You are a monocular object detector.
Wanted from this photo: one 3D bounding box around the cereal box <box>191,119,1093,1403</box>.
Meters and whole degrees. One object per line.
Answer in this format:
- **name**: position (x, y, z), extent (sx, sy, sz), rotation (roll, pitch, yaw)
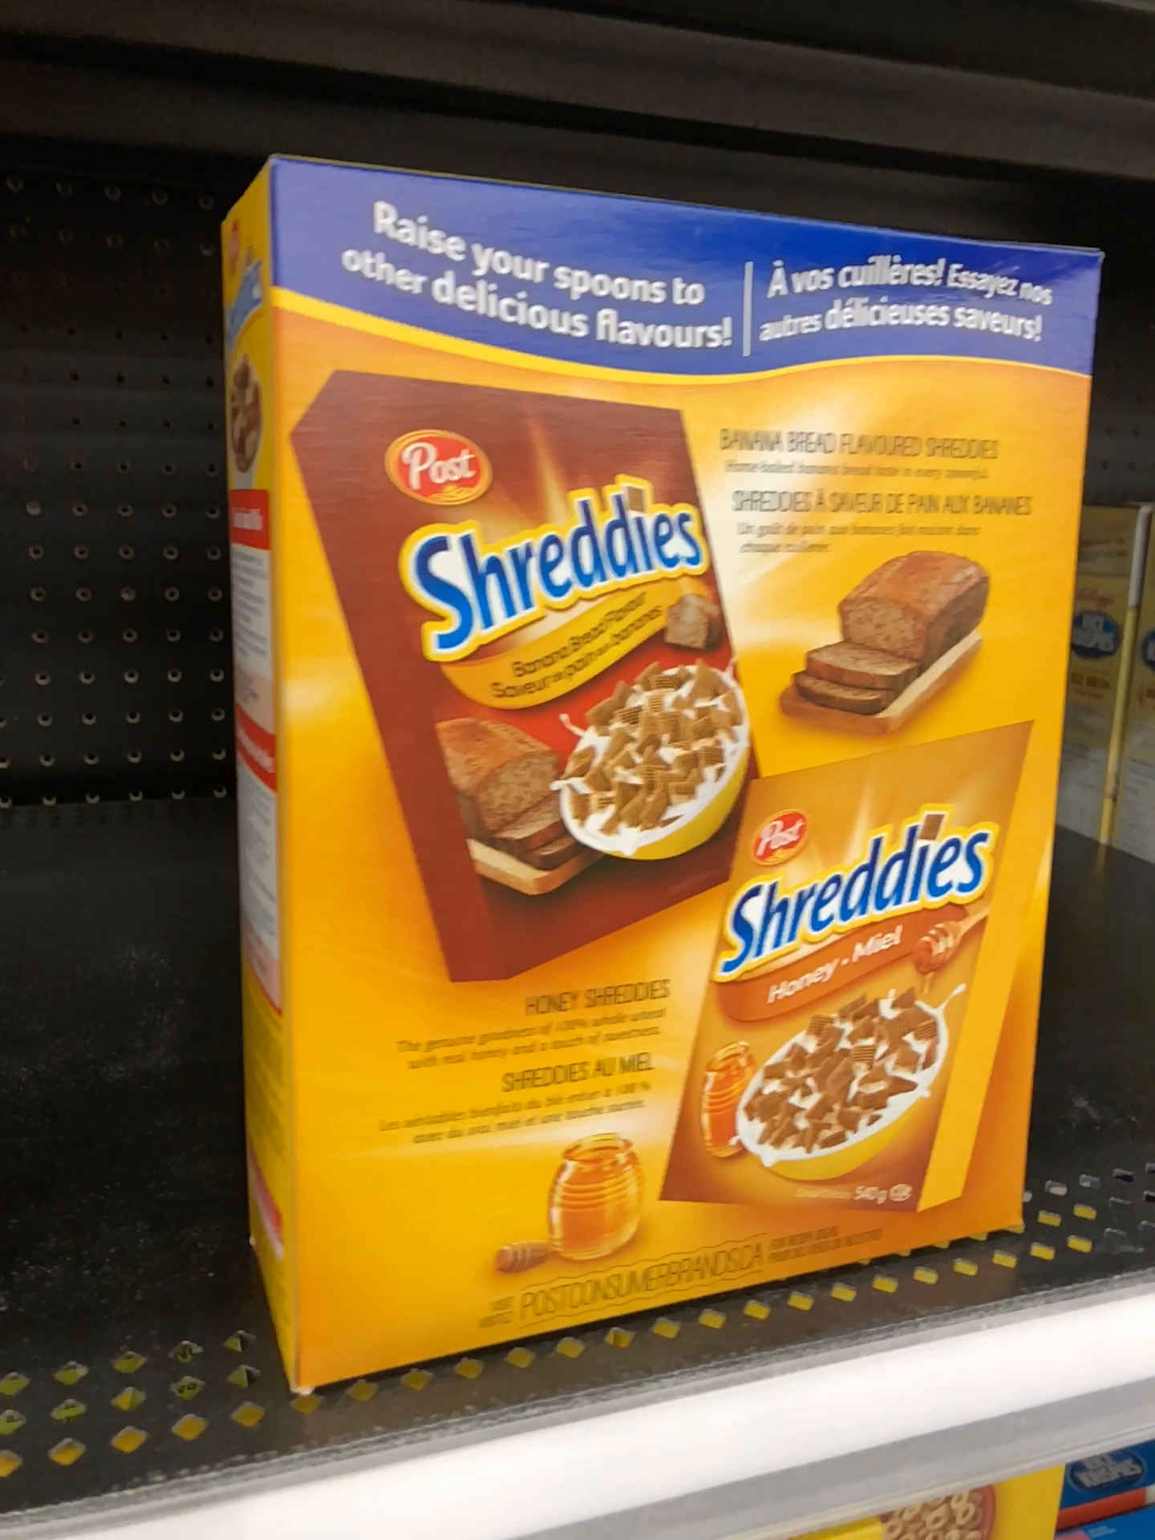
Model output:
- **cereal box**: position (0.017, -0.001, 0.331), extent (0.210, 0.269, 0.060), rotation (-3, 11, -22)
